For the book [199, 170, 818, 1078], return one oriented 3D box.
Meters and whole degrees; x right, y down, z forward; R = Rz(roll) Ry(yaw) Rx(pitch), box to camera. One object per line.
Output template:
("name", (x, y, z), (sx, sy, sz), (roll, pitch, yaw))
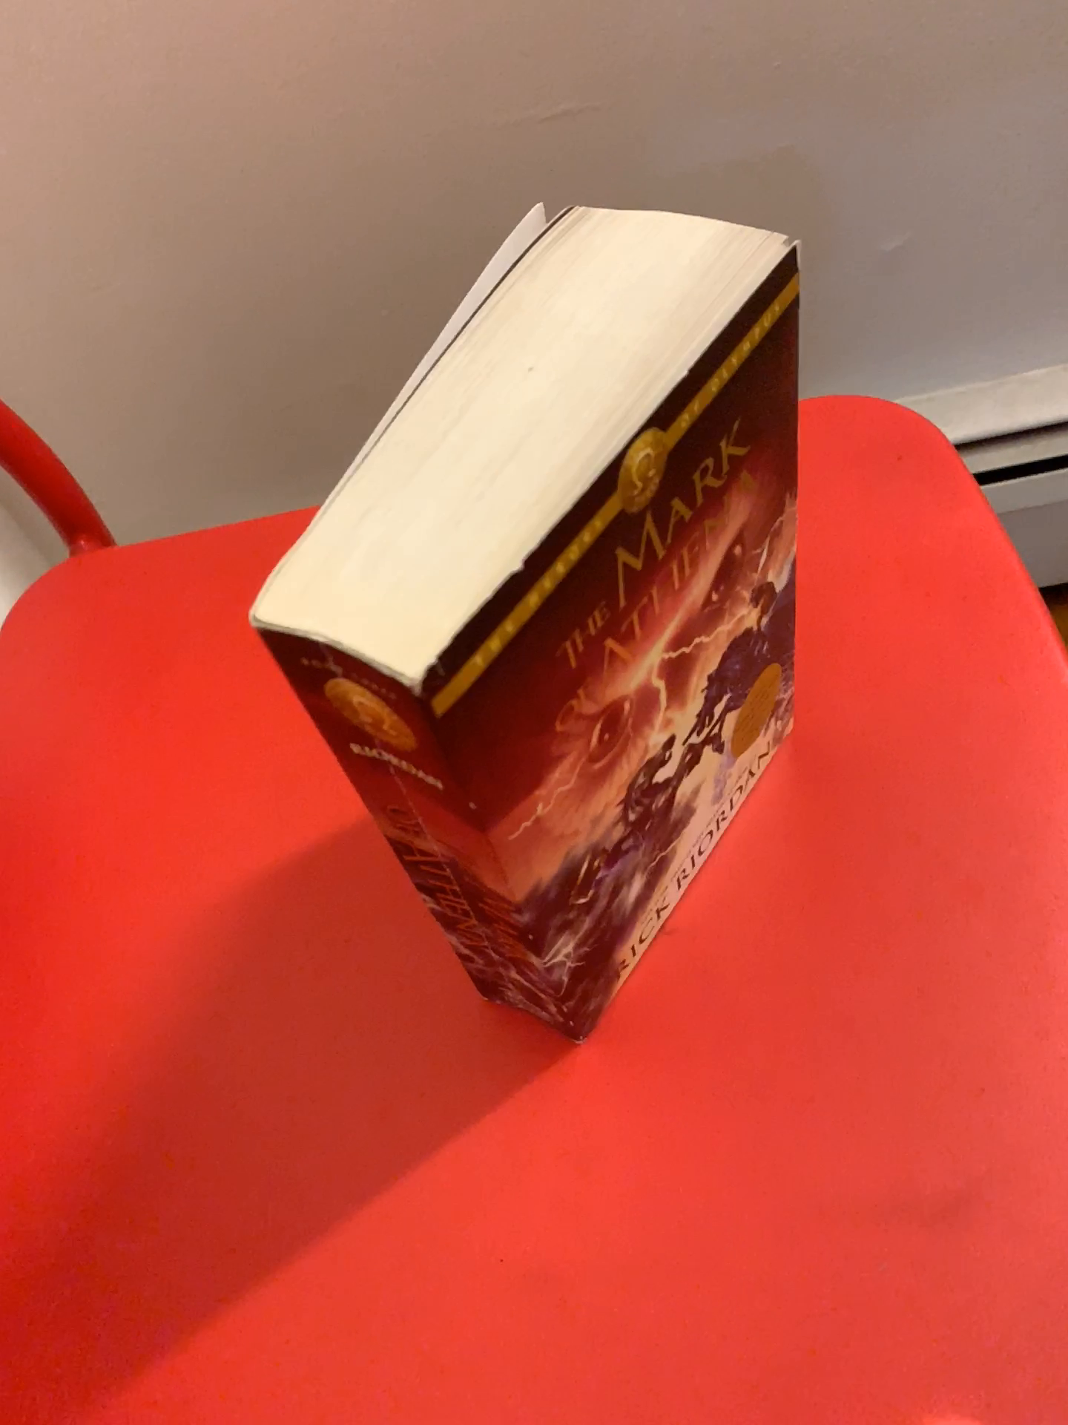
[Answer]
("book", (0.016, -0.009, 0.292), (0.061, 0.194, 0.140), (20, 62, 23))
